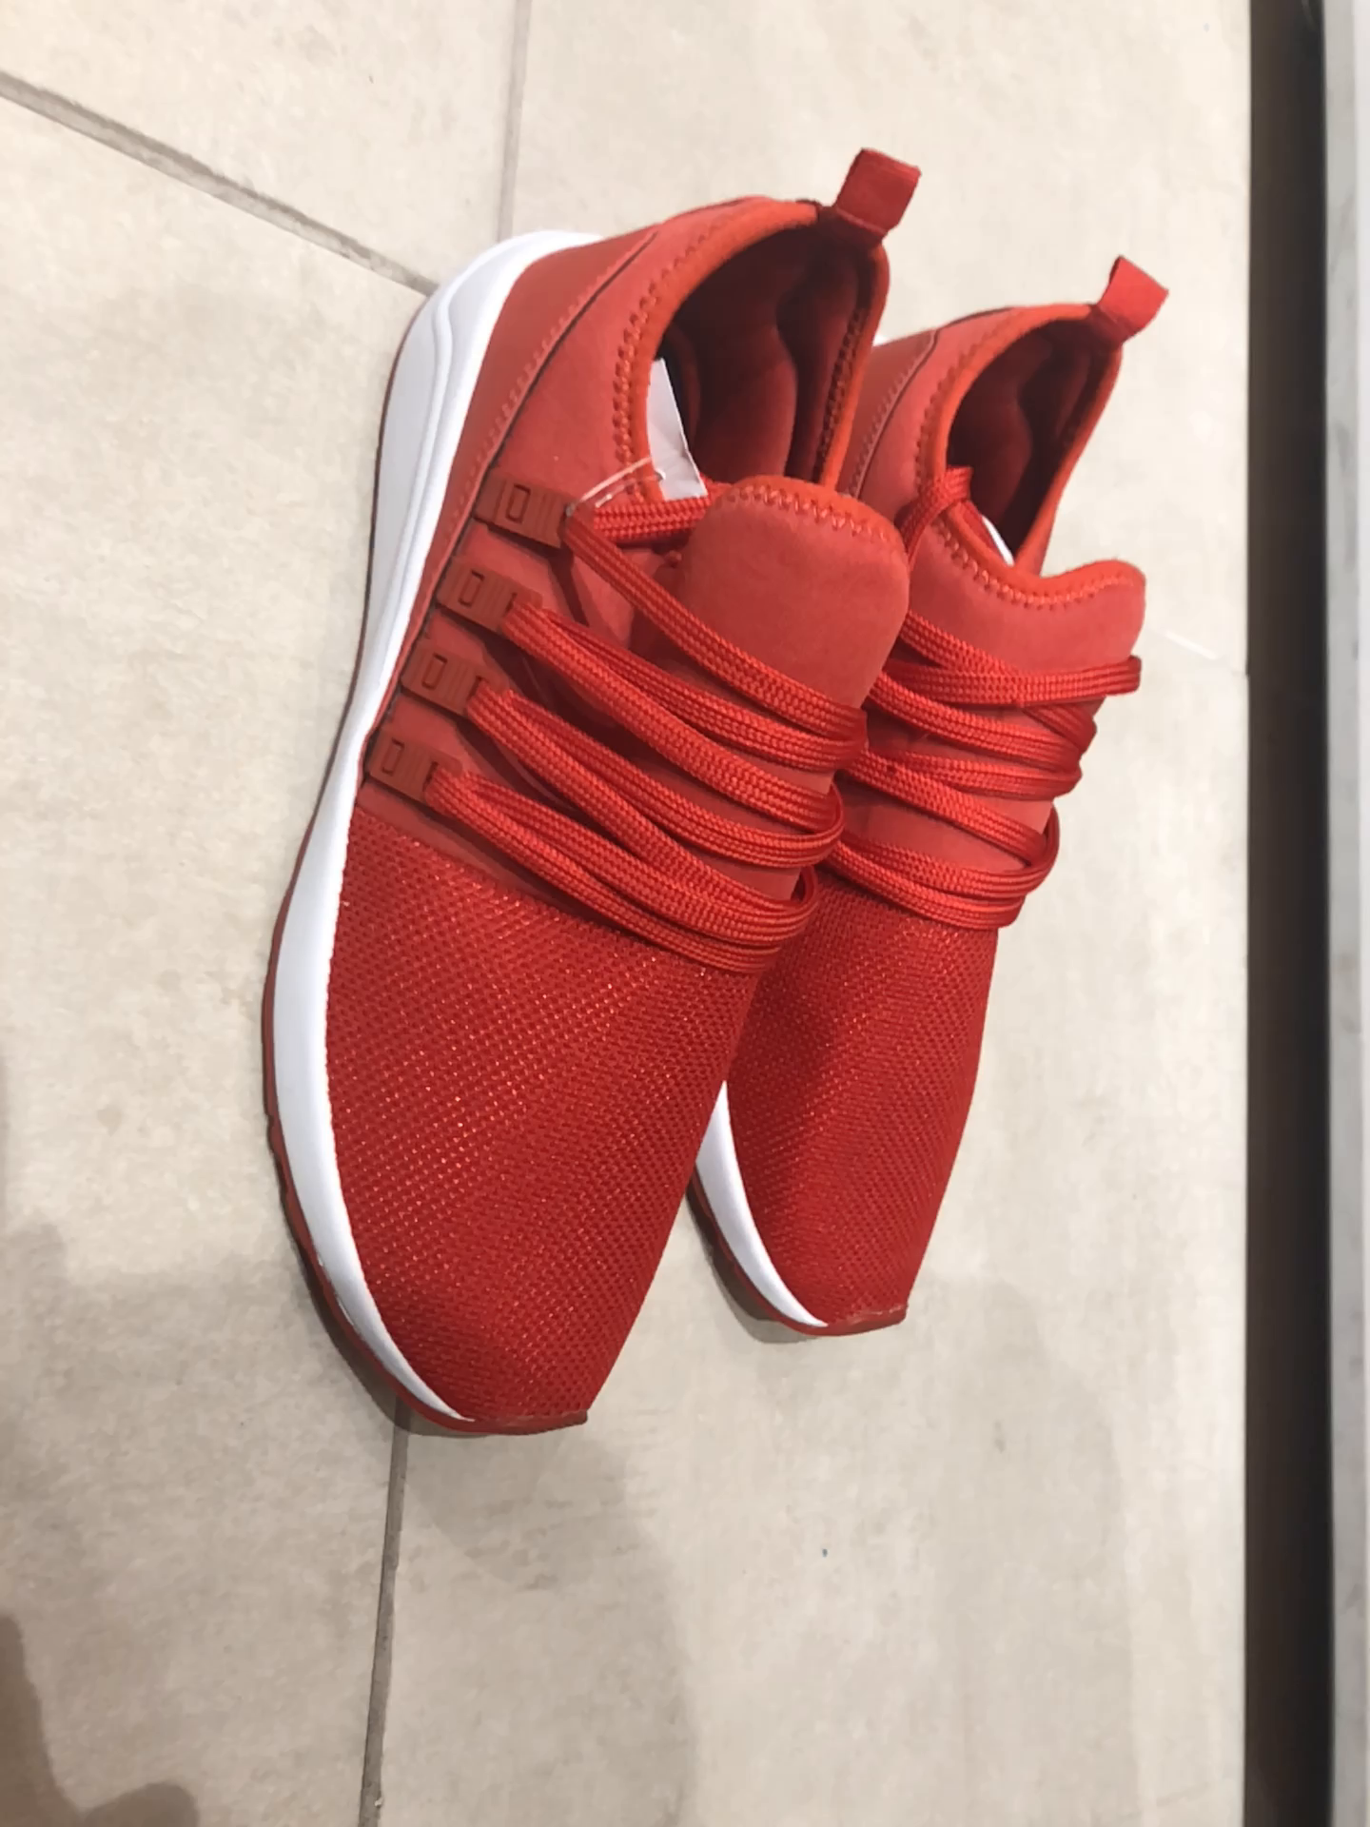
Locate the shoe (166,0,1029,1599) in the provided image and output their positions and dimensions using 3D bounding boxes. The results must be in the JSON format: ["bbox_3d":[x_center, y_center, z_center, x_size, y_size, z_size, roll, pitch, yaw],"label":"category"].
[{"bbox_3d":[-0.018,-0.023,0.323,0.101,0.139,0.270,11,79,-40],"label":"shoe"}]

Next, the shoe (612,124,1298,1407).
[{"bbox_3d":[0.065,-0.028,0.400,0.101,0.139,0.270,6,82,-41],"label":"shoe"}]
